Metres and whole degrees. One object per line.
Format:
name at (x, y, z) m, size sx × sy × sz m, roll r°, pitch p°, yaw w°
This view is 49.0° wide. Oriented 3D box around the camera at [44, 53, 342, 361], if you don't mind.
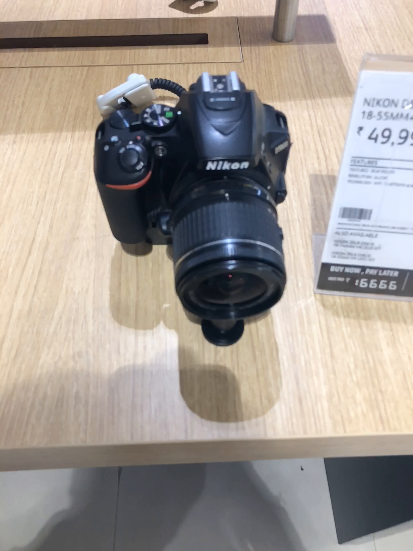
camera at (-0.009, -0.045, 0.284) m, size 0.130 × 0.099 × 0.161 m, roll -3°, pitch 56°, yaw -2°
